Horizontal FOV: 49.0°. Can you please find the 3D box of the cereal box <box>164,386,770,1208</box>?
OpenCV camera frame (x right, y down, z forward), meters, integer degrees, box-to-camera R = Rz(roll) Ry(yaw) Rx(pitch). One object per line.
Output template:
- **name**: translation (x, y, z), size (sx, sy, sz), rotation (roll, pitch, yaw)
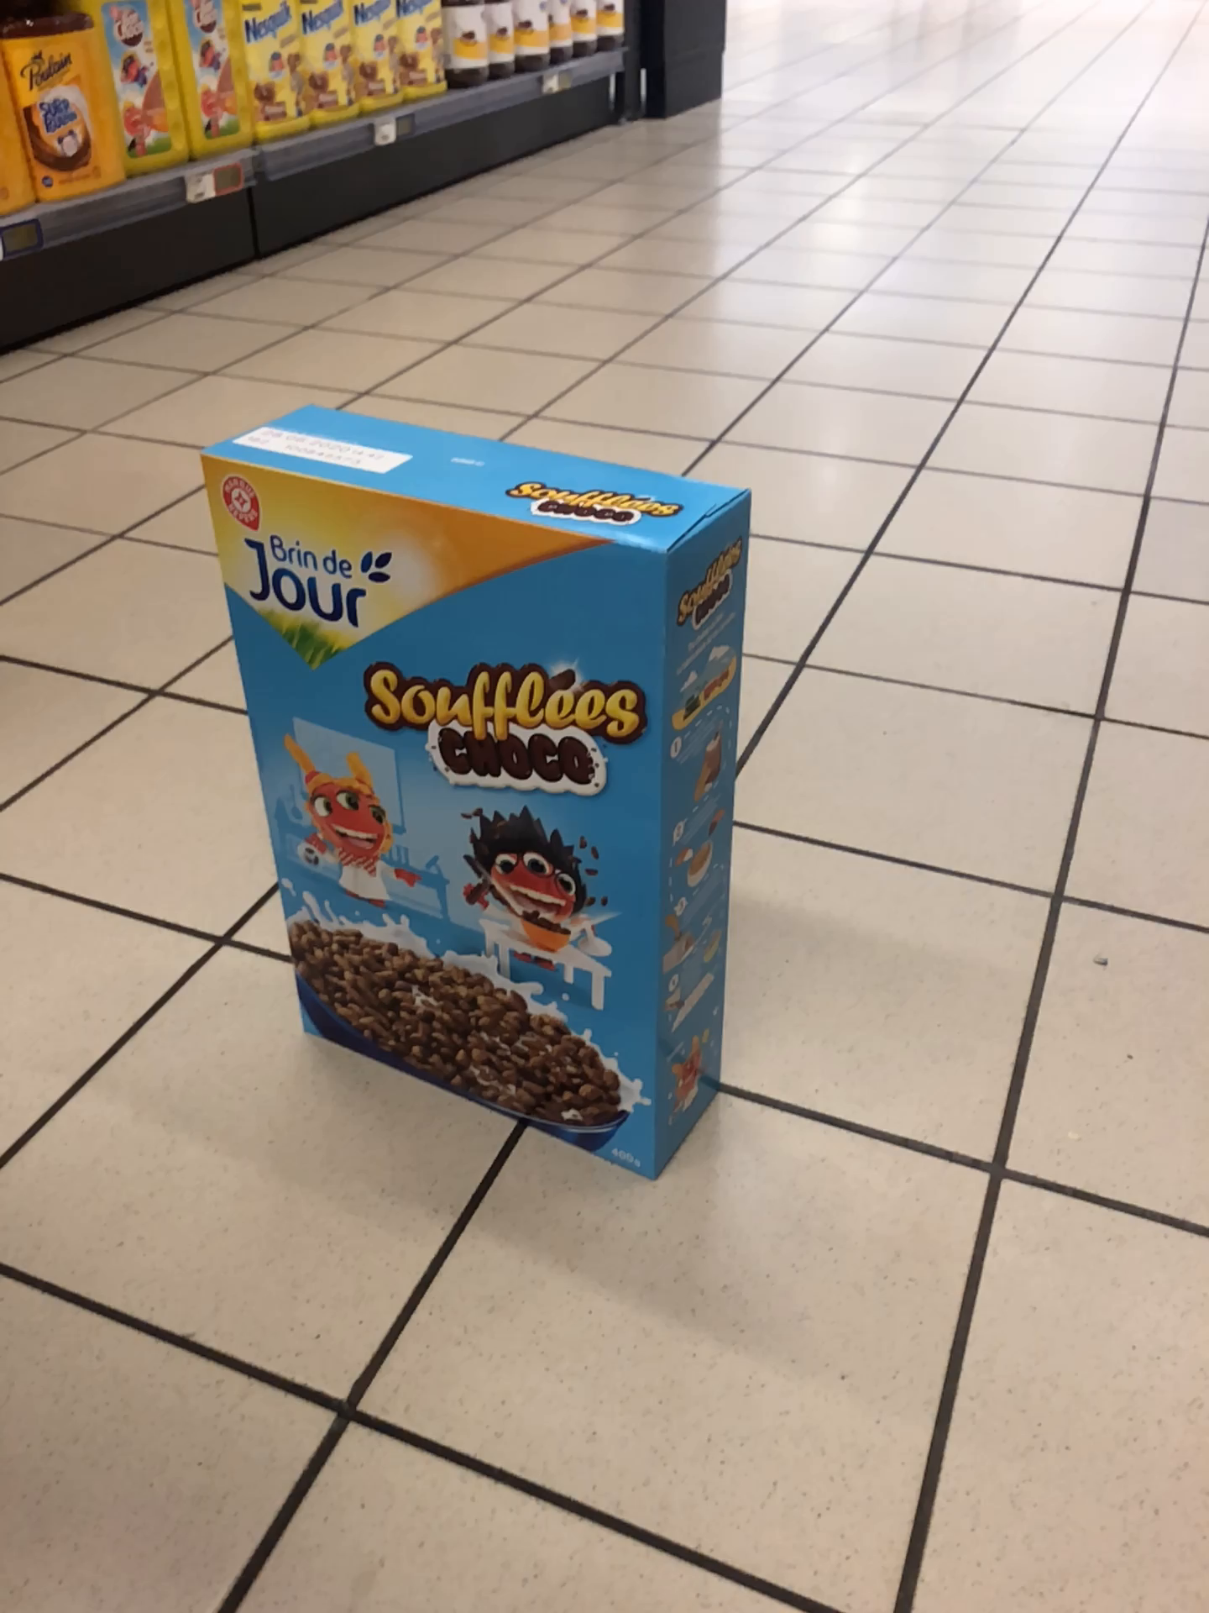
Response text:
- **cereal box**: translation (-0.049, -0.001, 0.541), size (0.200, 0.288, 0.080), rotation (18, 38, 25)
